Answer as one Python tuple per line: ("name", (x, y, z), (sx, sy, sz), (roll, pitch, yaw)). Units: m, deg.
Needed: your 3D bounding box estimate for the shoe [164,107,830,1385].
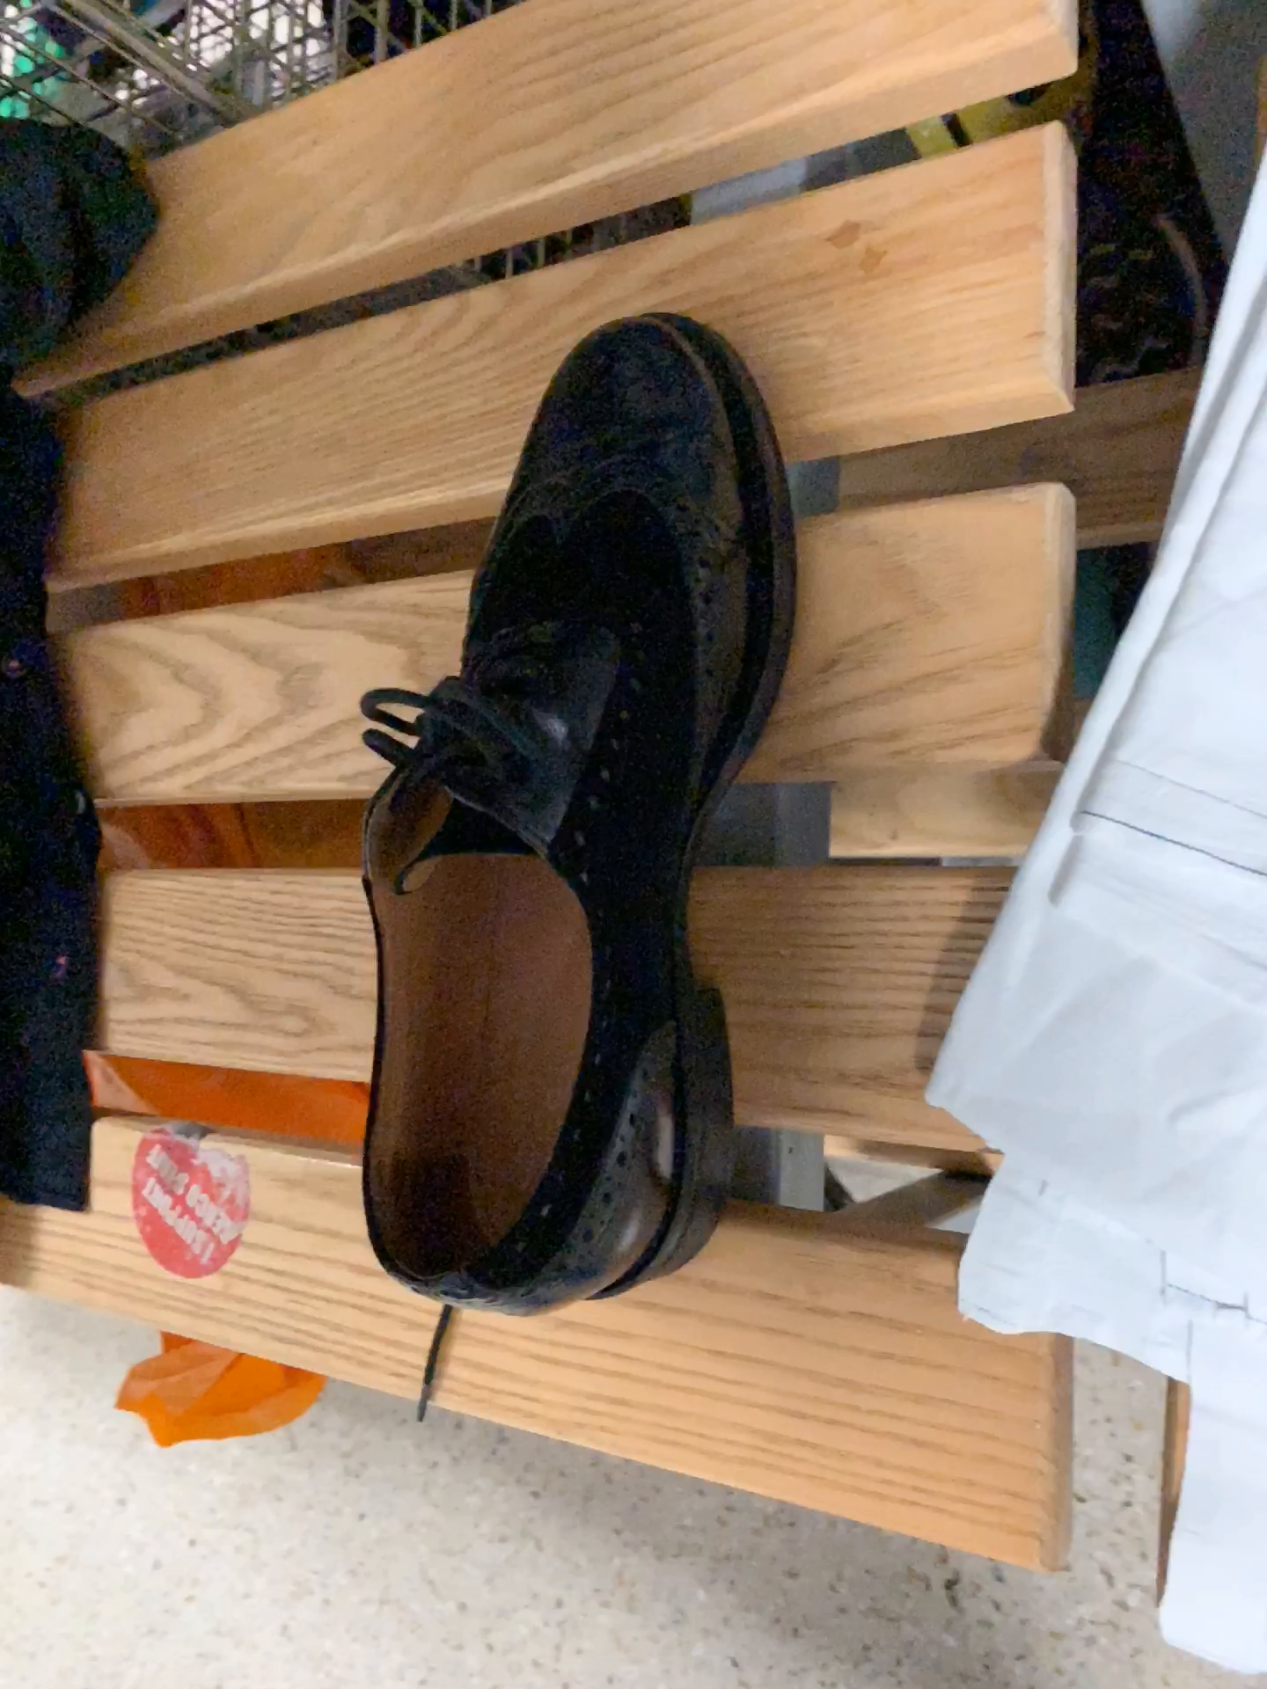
("shoe", (-0.028, -0.021, 0.319), (0.100, 0.095, 0.250), (4, 87, 32))
